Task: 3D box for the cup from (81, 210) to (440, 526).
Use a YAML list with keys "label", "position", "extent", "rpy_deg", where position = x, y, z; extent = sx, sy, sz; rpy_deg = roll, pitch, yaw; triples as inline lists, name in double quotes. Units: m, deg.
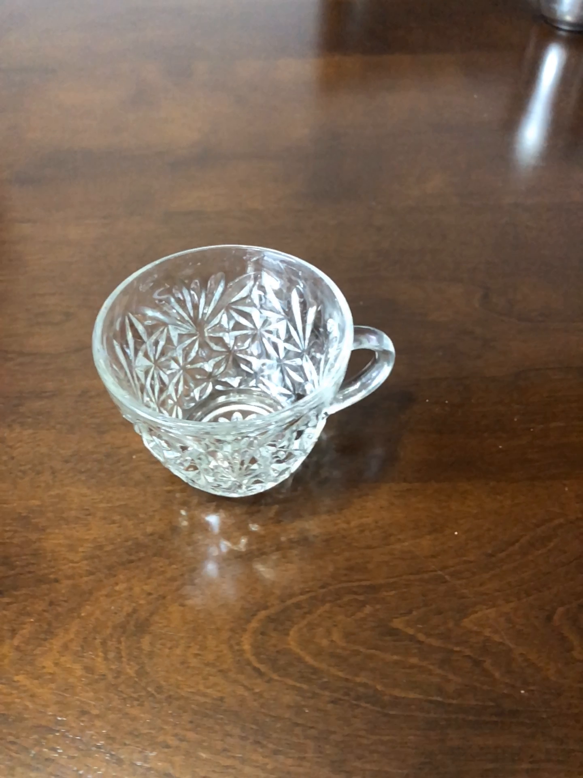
- label: "cup"
  position: [-0.013, -0.009, 0.226]
  extent: [0.100, 0.060, 0.070]
  rpy_deg: [-11, 49, -8]
